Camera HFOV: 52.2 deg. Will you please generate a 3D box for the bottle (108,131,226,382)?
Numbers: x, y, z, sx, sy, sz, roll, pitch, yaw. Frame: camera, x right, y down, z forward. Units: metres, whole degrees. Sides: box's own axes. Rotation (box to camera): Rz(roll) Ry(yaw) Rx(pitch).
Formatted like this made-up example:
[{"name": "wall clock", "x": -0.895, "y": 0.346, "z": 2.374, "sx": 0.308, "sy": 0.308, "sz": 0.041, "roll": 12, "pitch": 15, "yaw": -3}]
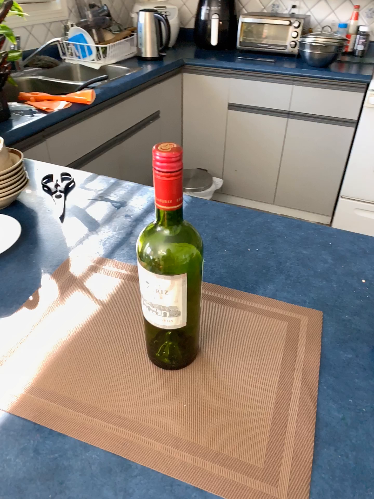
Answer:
[{"name": "bottle", "x": -0.021, "y": 0.020, "z": 0.443, "sx": 0.080, "sy": 0.277, "sz": 0.080, "roll": 0, "pitch": 36, "yaw": 0}]
